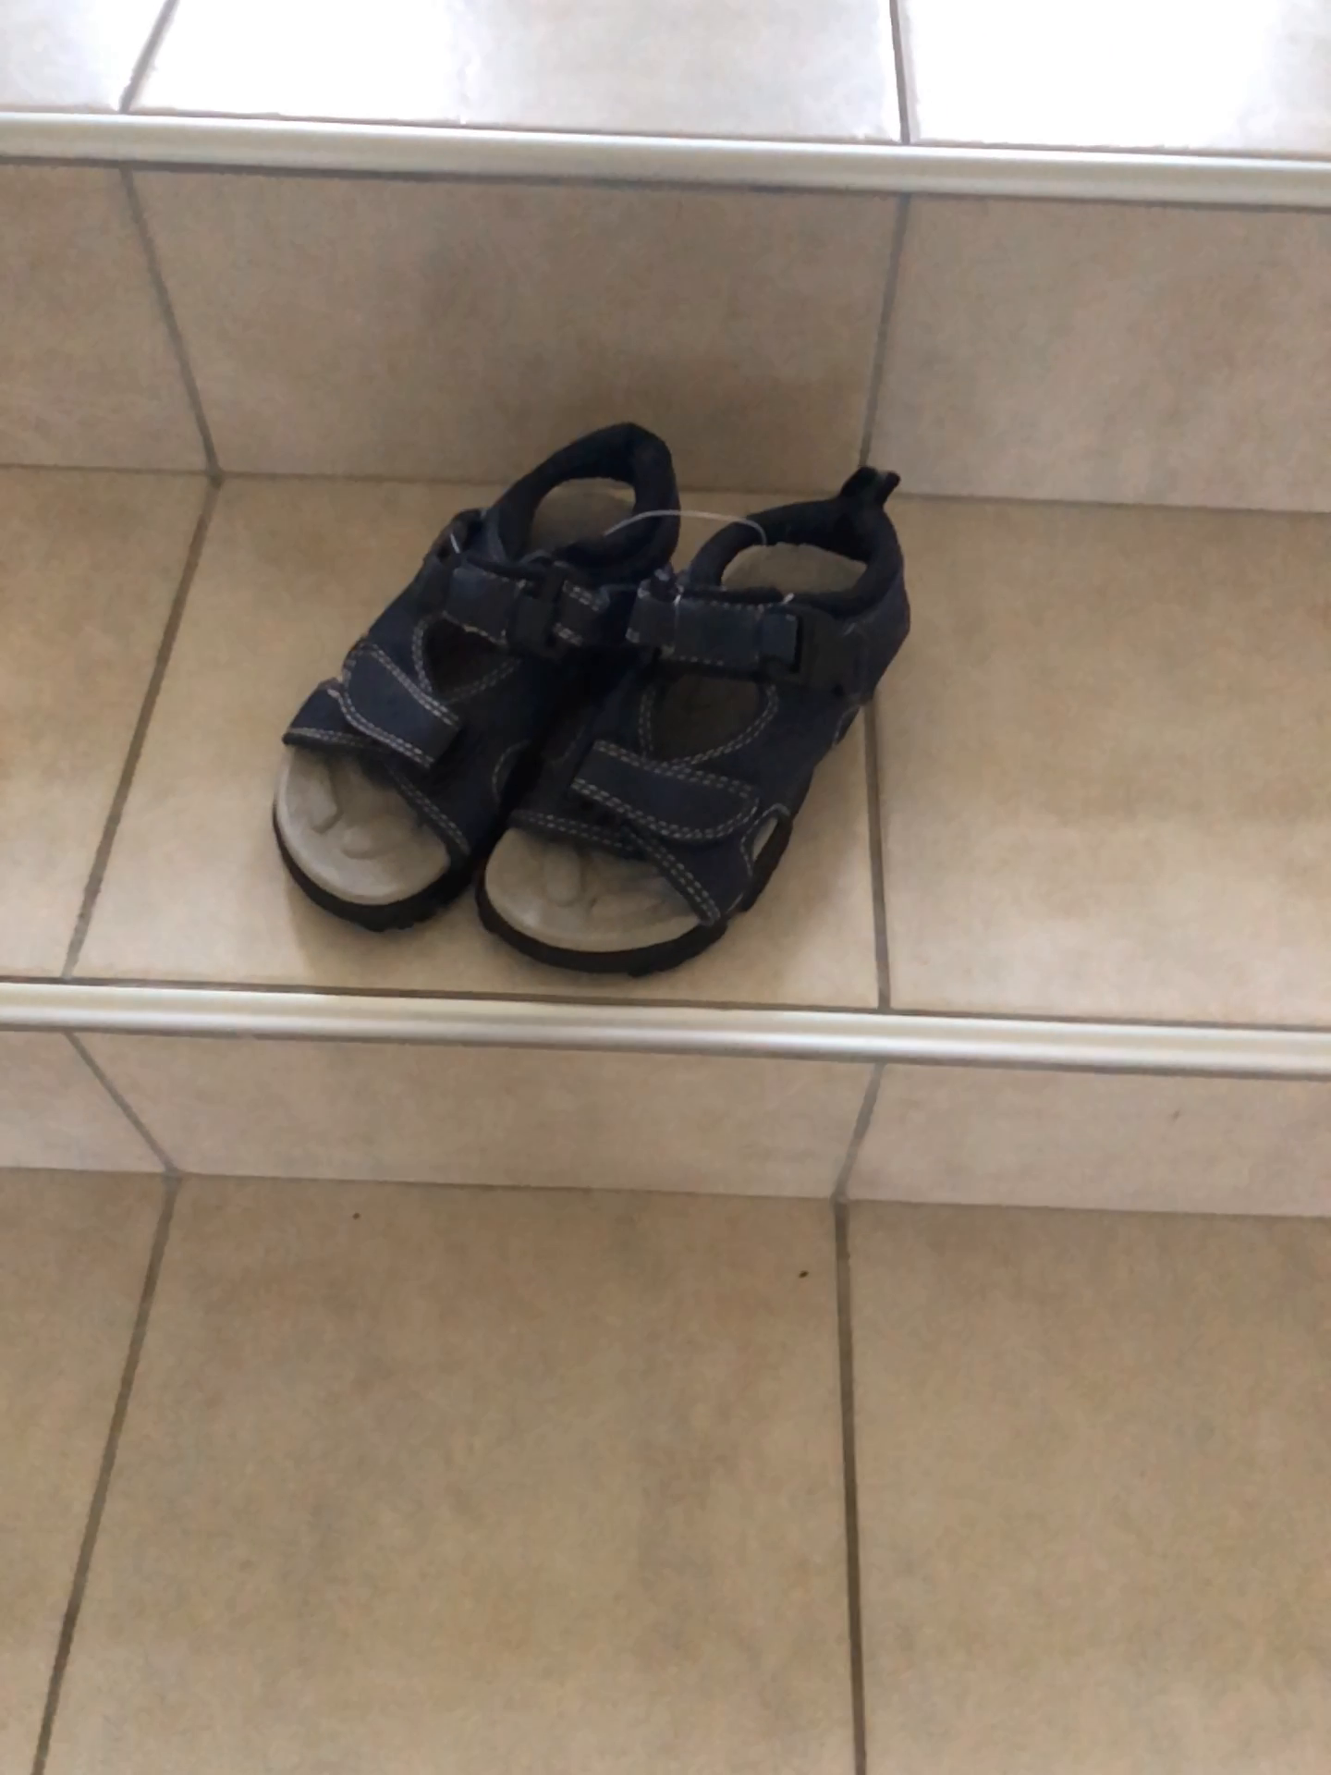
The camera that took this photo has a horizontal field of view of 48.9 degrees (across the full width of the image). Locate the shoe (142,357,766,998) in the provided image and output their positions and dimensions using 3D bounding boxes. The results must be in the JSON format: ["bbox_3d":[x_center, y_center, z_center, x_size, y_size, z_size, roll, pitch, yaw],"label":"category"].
[{"bbox_3d":[-0.068,-0.088,0.561,0.100,0.090,0.231,30,60,18],"label":"shoe"}]

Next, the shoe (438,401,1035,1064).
[{"bbox_3d":[0.032,-0.065,0.548,0.100,0.090,0.231,30,60,18],"label":"shoe"}]
